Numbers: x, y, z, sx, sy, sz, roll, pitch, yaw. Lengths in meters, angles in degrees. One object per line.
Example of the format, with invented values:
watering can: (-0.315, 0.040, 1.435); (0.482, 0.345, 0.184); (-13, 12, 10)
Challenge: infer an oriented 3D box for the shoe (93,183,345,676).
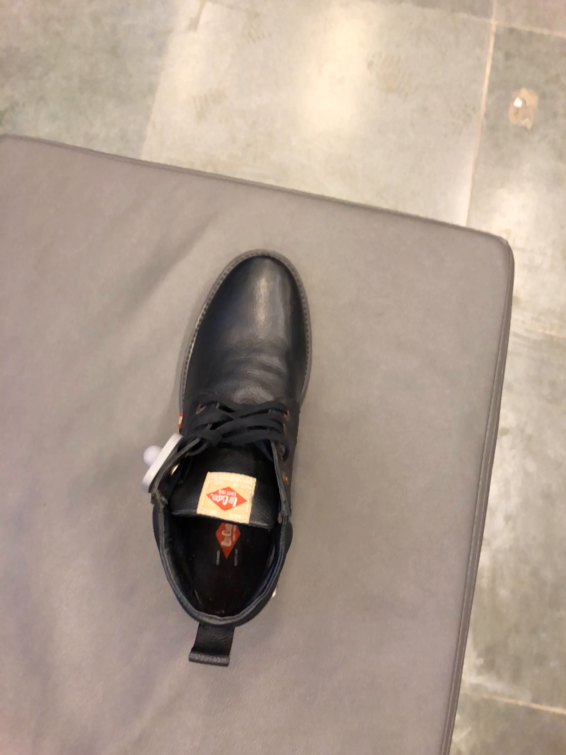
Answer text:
shoe: (-0.033, 0.035, 0.446); (0.111, 0.149, 0.284); (7, 77, 0)
